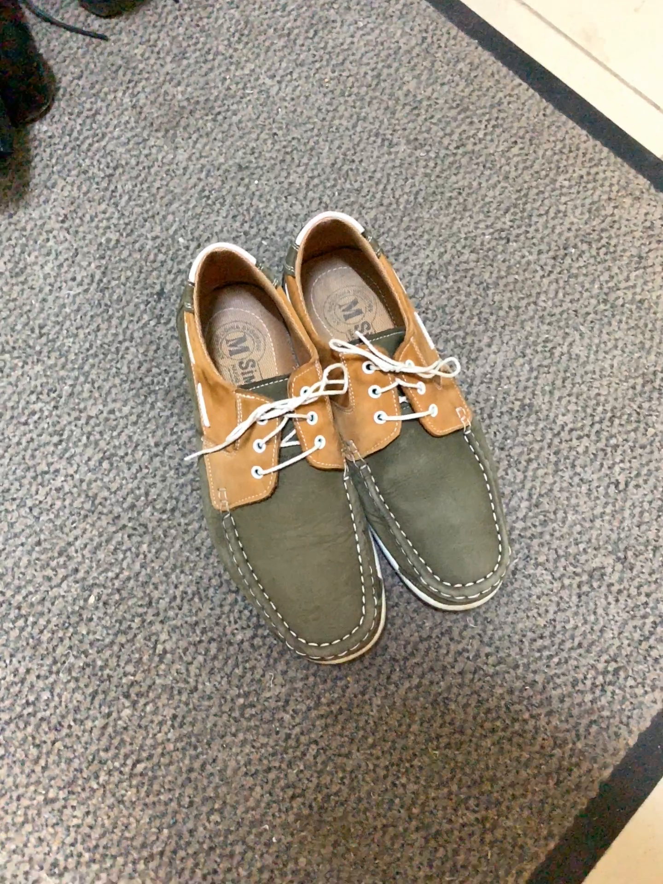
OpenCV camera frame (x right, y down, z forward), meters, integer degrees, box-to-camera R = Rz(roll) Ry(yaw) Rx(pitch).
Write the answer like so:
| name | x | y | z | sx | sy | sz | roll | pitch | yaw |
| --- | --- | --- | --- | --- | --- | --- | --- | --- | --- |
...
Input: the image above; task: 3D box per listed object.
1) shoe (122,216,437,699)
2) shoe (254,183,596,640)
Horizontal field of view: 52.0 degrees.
| name | x | y | z | sx | sy | sz | roll | pitch | yaw |
| --- | --- | --- | --- | --- | --- | --- | --- | --- | --- |
| shoe | -0.040 | 0.013 | 0.453 | 0.107 | 0.130 | 0.270 | -17 | 74 | -8 |
| shoe | 0.046 | -0.015 | 0.472 | 0.107 | 0.130 | 0.270 | -20 | 75 | -9 |
